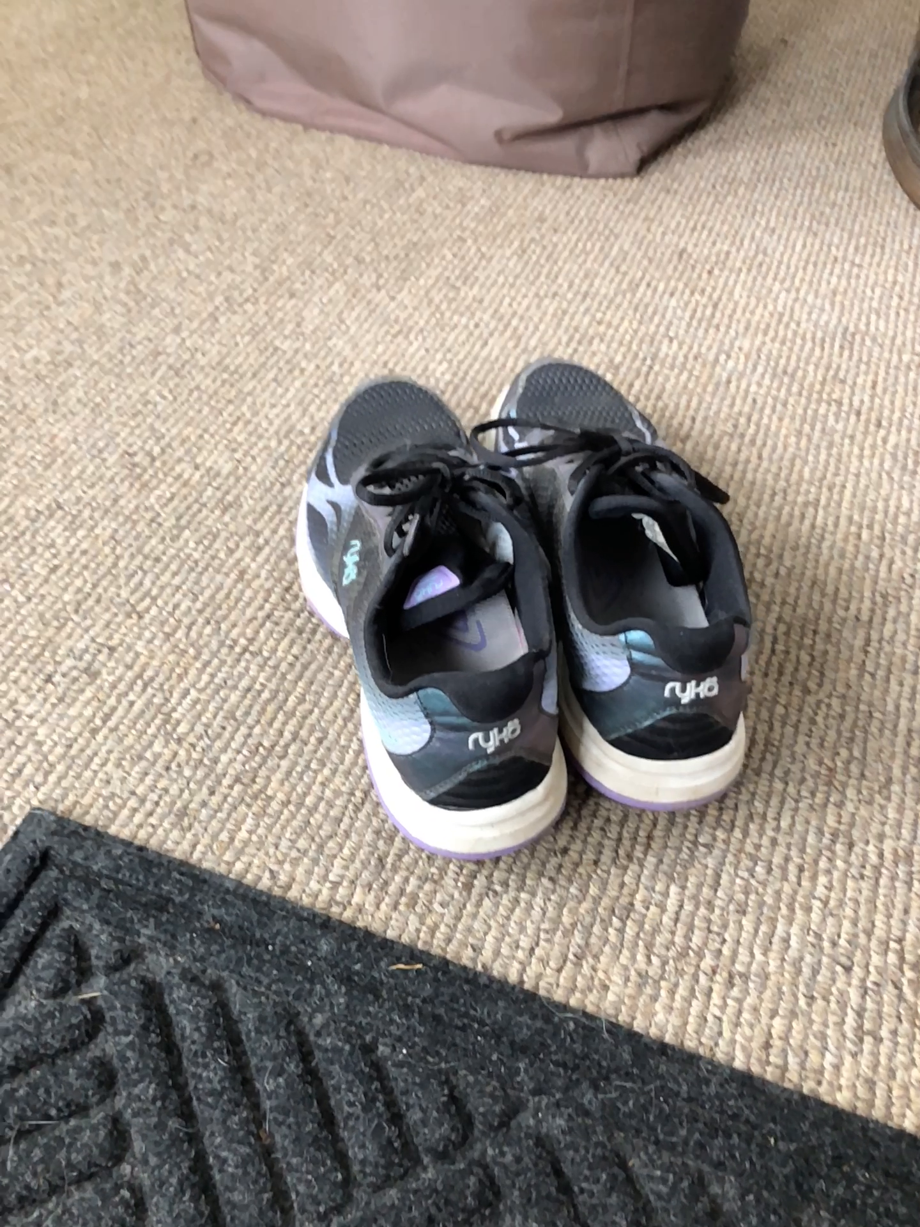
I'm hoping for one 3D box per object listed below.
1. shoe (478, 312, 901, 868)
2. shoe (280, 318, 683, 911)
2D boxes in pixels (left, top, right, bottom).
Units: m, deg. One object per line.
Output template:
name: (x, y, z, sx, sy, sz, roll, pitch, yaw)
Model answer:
shoe: (0.087, -0.026, 0.491, 0.102, 0.103, 0.258, -5, 50, -10)
shoe: (-0.008, -0.015, 0.472, 0.110, 0.103, 0.258, -8, 50, -12)
